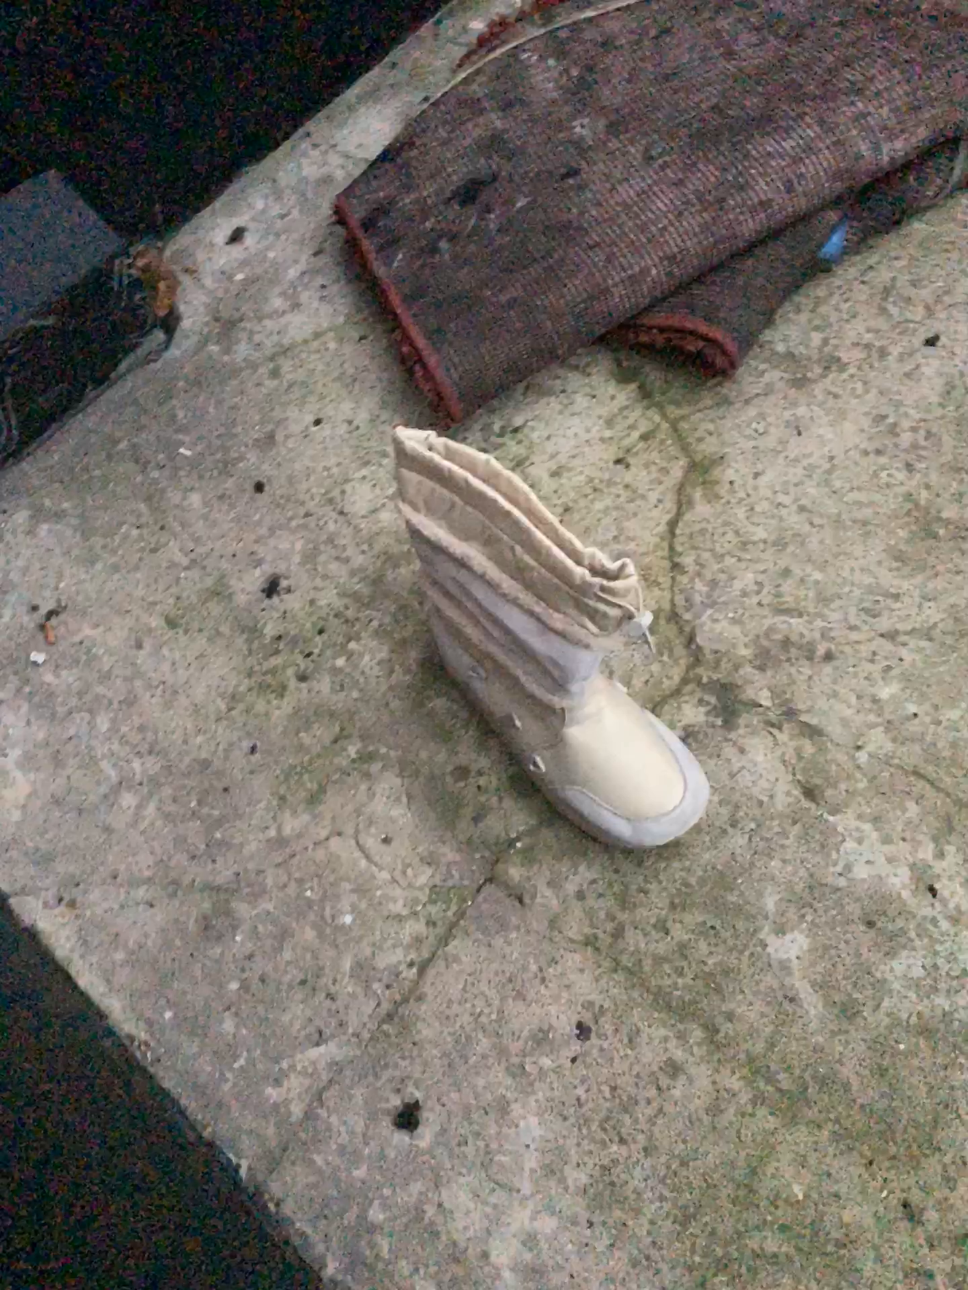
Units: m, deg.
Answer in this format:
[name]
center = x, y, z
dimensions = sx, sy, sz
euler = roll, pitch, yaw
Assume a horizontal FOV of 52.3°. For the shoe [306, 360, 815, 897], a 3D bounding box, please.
[shoe]
center = 0.050, 0.012, 0.680
dimensions = 0.120, 0.309, 0.271
euler = -43, 70, -11
